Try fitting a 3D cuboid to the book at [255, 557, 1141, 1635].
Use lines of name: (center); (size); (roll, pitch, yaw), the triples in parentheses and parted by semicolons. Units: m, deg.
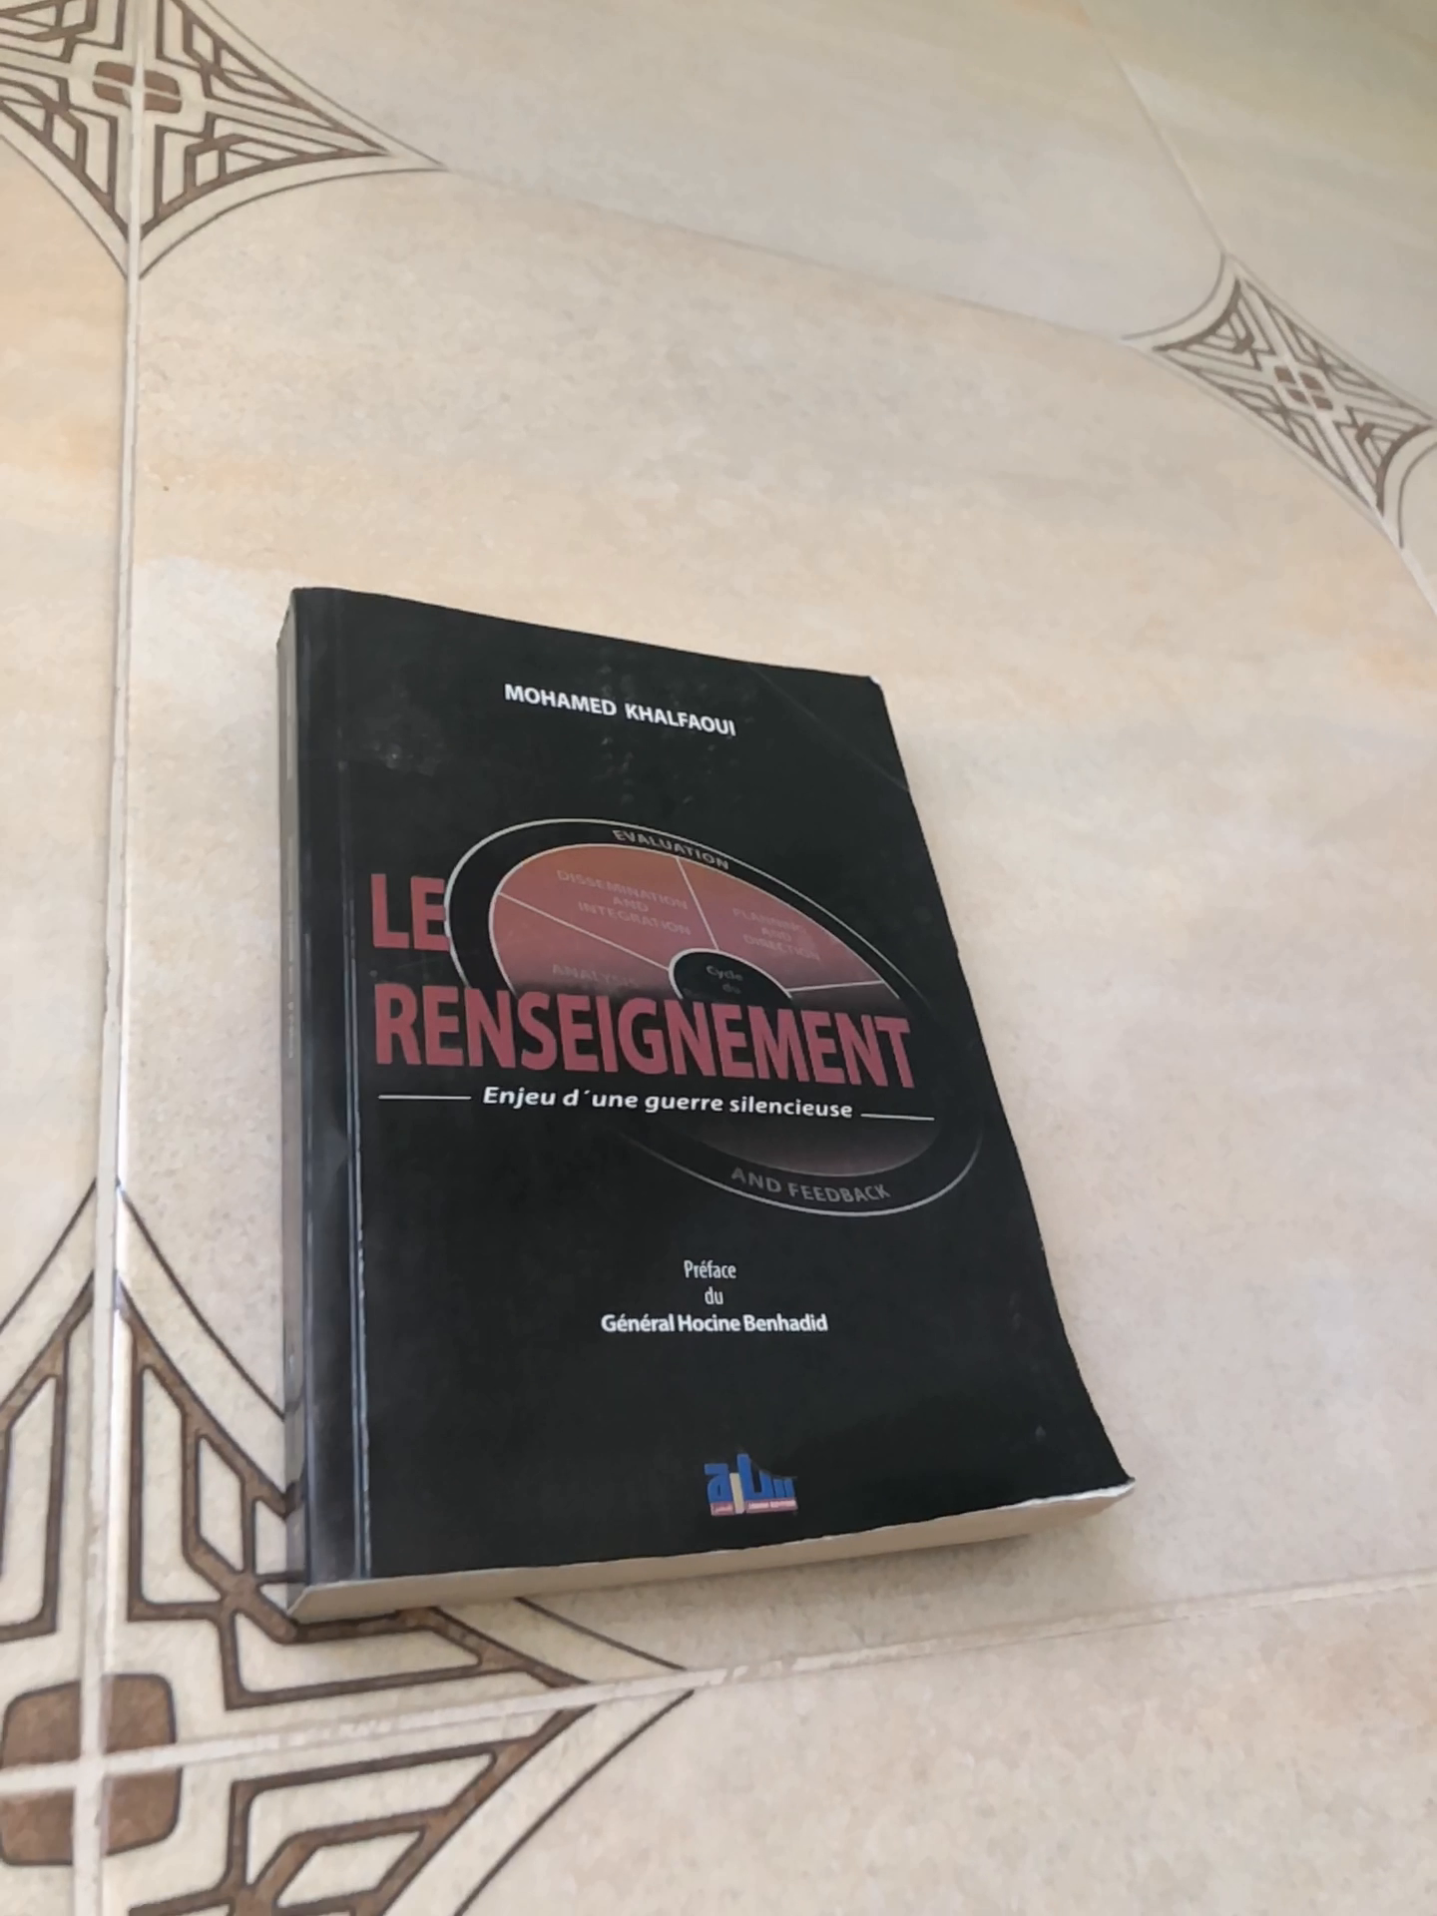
book: (-0.014, 0.018, 0.320); (0.146, 0.037, 0.201); (5, 56, -25)
